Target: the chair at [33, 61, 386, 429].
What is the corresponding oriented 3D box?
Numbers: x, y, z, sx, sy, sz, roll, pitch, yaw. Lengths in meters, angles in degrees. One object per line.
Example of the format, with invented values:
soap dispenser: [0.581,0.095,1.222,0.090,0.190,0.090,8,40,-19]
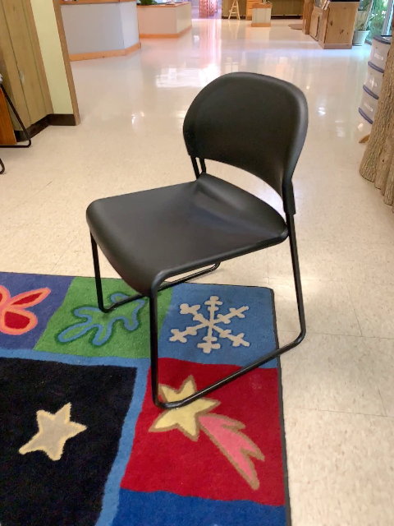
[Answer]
chair: [-0.011,-0.119,1.171,0.630,0.735,0.614,-17,37,-23]
